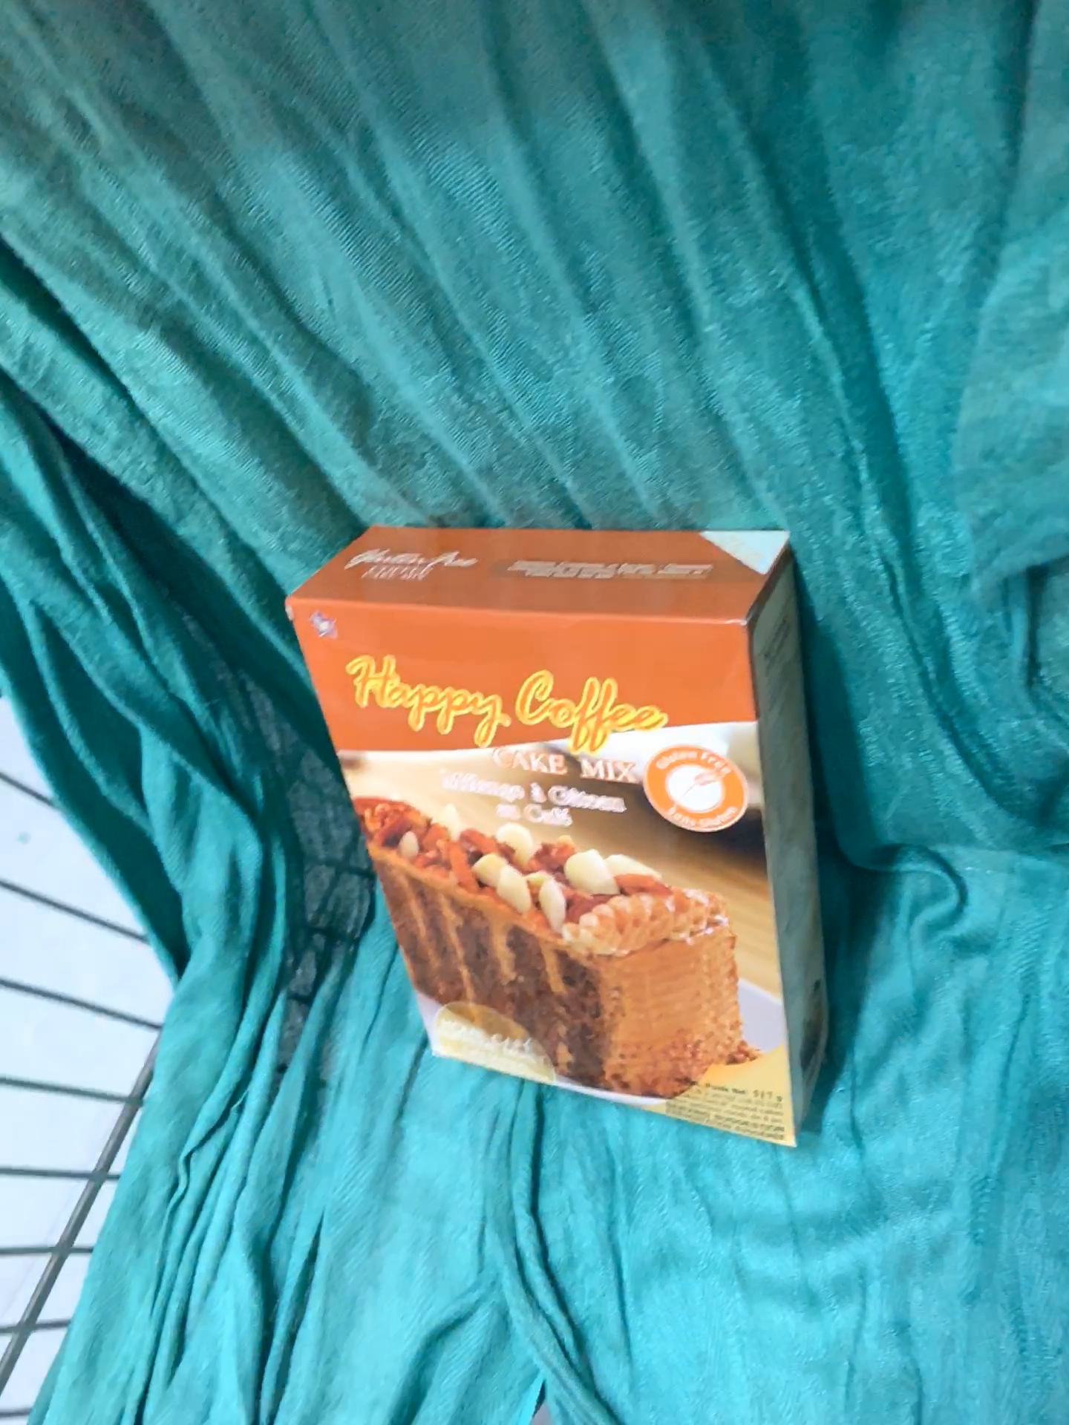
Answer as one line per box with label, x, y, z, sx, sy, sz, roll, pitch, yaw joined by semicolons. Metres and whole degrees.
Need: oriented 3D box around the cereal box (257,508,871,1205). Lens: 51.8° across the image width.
cereal box;0.020;0.045;0.340;0.150;0.209;0.050;5;35;26
